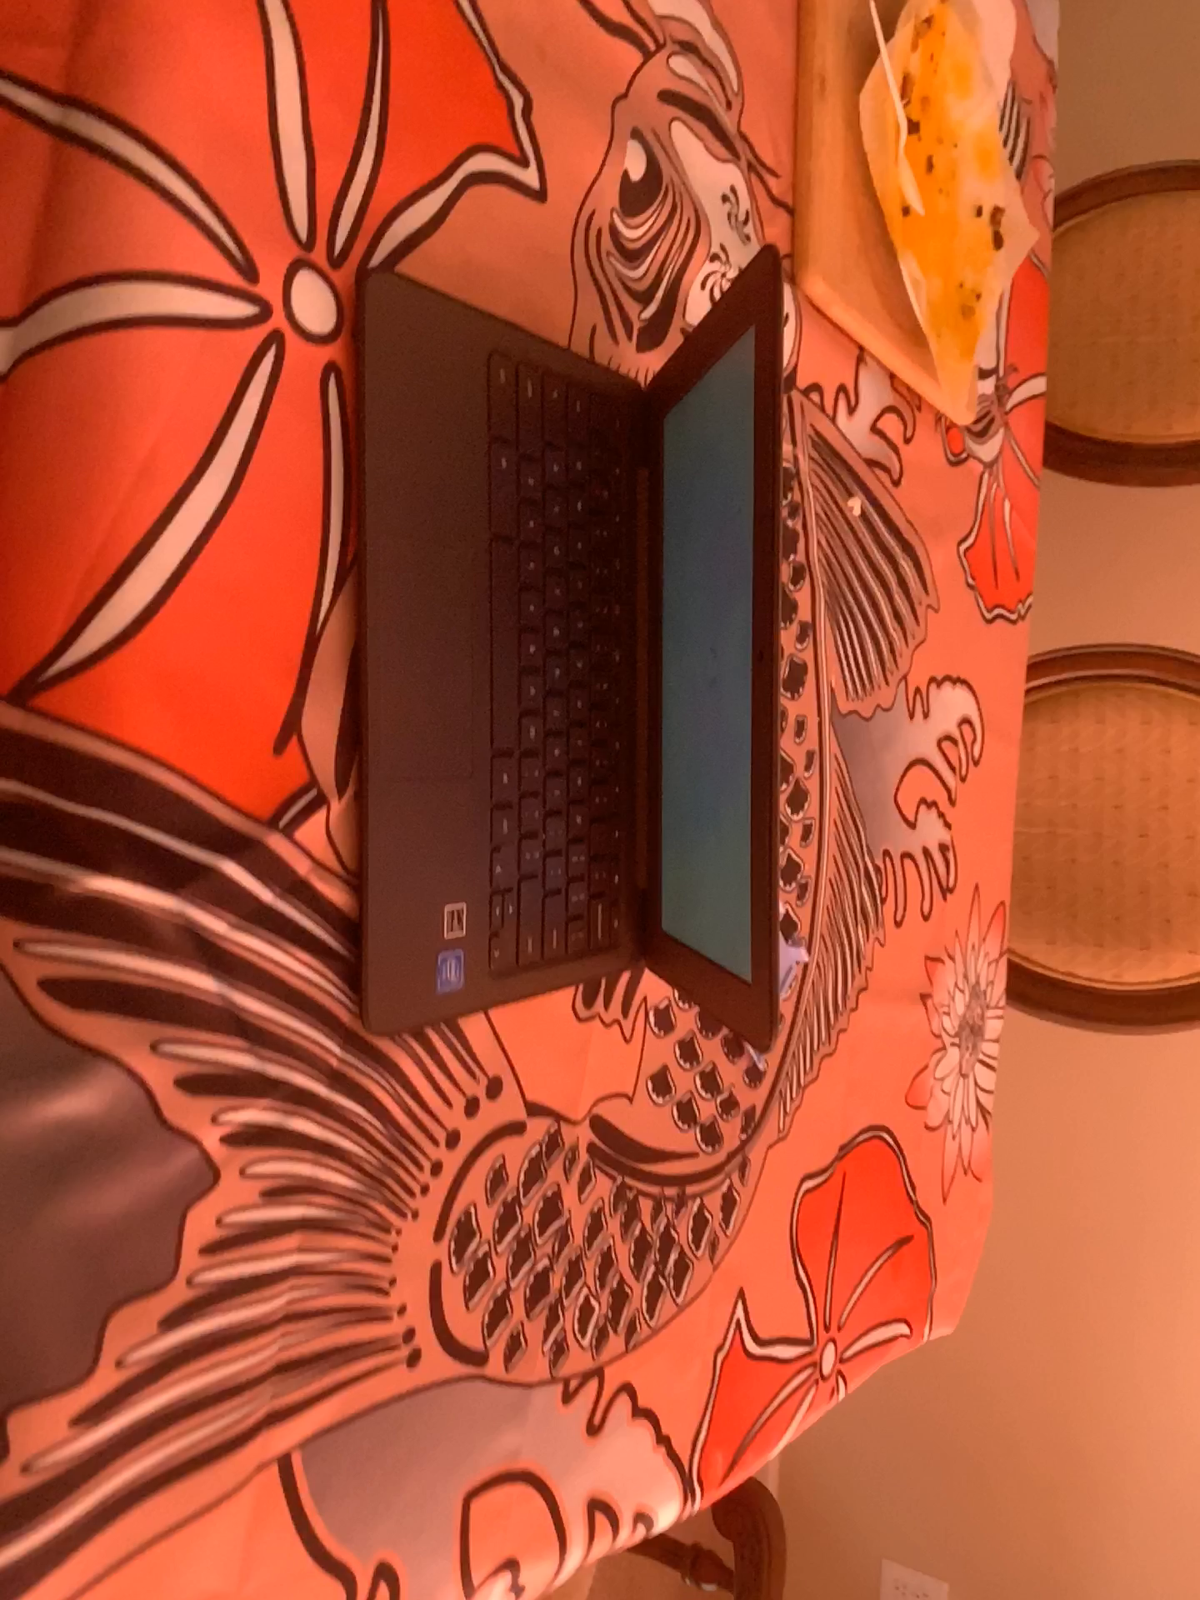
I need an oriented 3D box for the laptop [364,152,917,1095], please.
[{"bbox_3d":[0.028,-0.057,0.522,0.212,0.144,0.299,-3,94,-57],"label":"laptop"}]
